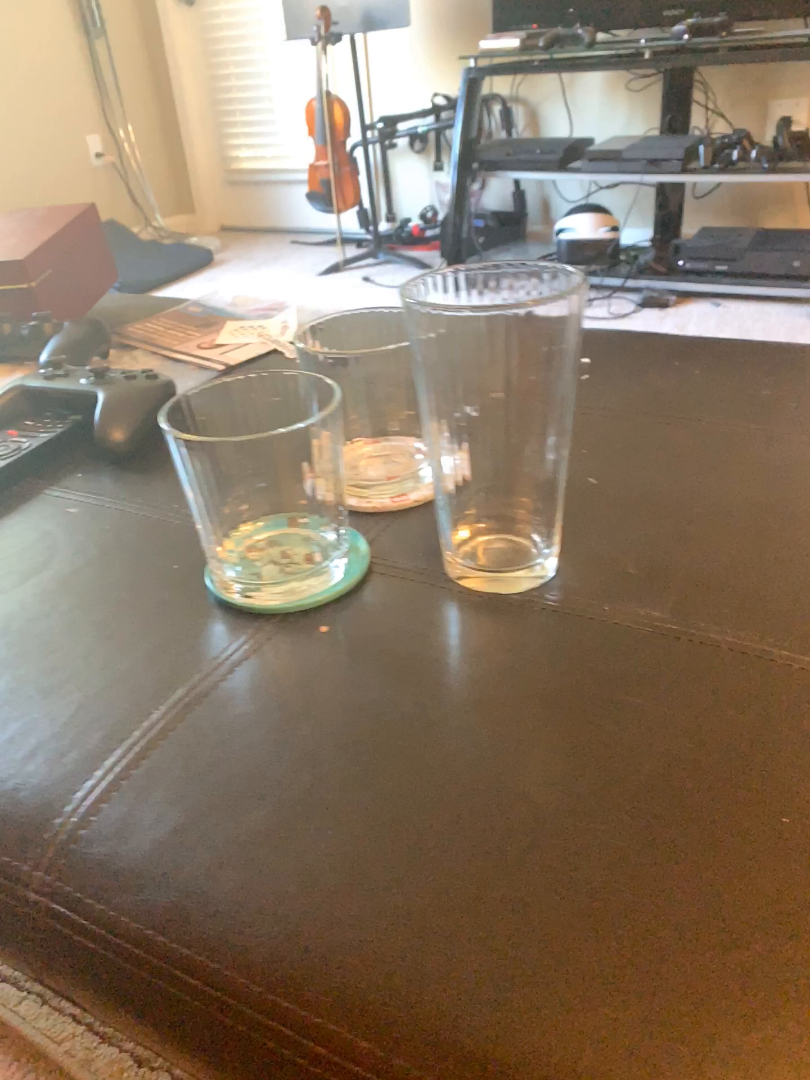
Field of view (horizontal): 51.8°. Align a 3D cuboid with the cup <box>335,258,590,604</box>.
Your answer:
[{"bbox_3d":[0.032,-0.059,0.431,0.090,0.139,0.080,-24,36,-29],"label":"cup"}]

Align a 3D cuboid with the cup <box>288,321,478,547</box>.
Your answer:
[{"bbox_3d":[-0.013,-0.074,0.559,0.080,0.109,0.091,-24,36,-29],"label":"cup"}]

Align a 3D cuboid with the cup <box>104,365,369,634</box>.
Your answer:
[{"bbox_3d":[-0.089,-0.027,0.447,0.090,0.089,0.101,-24,36,-29],"label":"cup"}]
